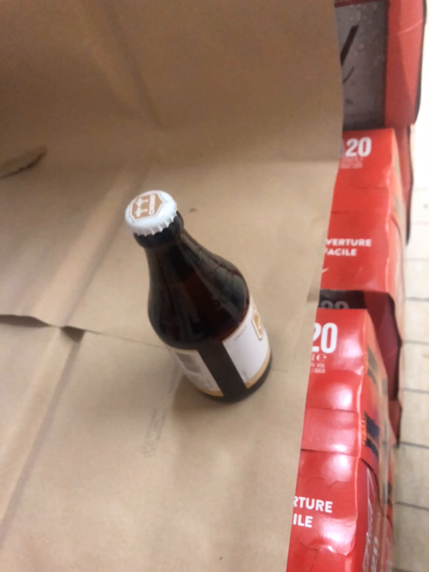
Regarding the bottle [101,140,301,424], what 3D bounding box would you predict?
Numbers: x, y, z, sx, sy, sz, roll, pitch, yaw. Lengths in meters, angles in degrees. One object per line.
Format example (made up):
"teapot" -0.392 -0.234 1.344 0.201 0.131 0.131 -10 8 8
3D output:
"bottle" 0.001 0.011 0.298 0.070 0.169 0.080 -14 52 8
